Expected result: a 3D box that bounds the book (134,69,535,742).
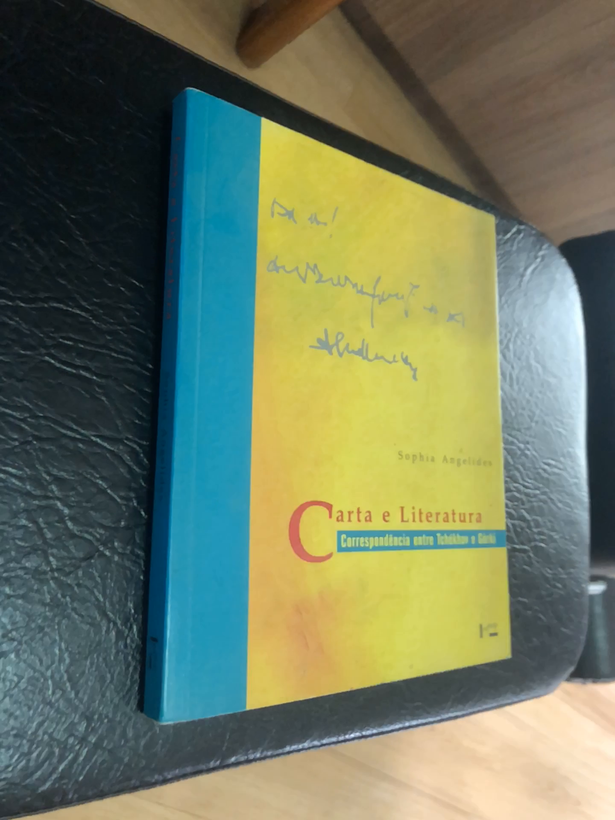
[{"bbox_3d":[0.025,0.001,0.270,0.174,0.024,0.208,7,80,-36],"label":"book"}]
